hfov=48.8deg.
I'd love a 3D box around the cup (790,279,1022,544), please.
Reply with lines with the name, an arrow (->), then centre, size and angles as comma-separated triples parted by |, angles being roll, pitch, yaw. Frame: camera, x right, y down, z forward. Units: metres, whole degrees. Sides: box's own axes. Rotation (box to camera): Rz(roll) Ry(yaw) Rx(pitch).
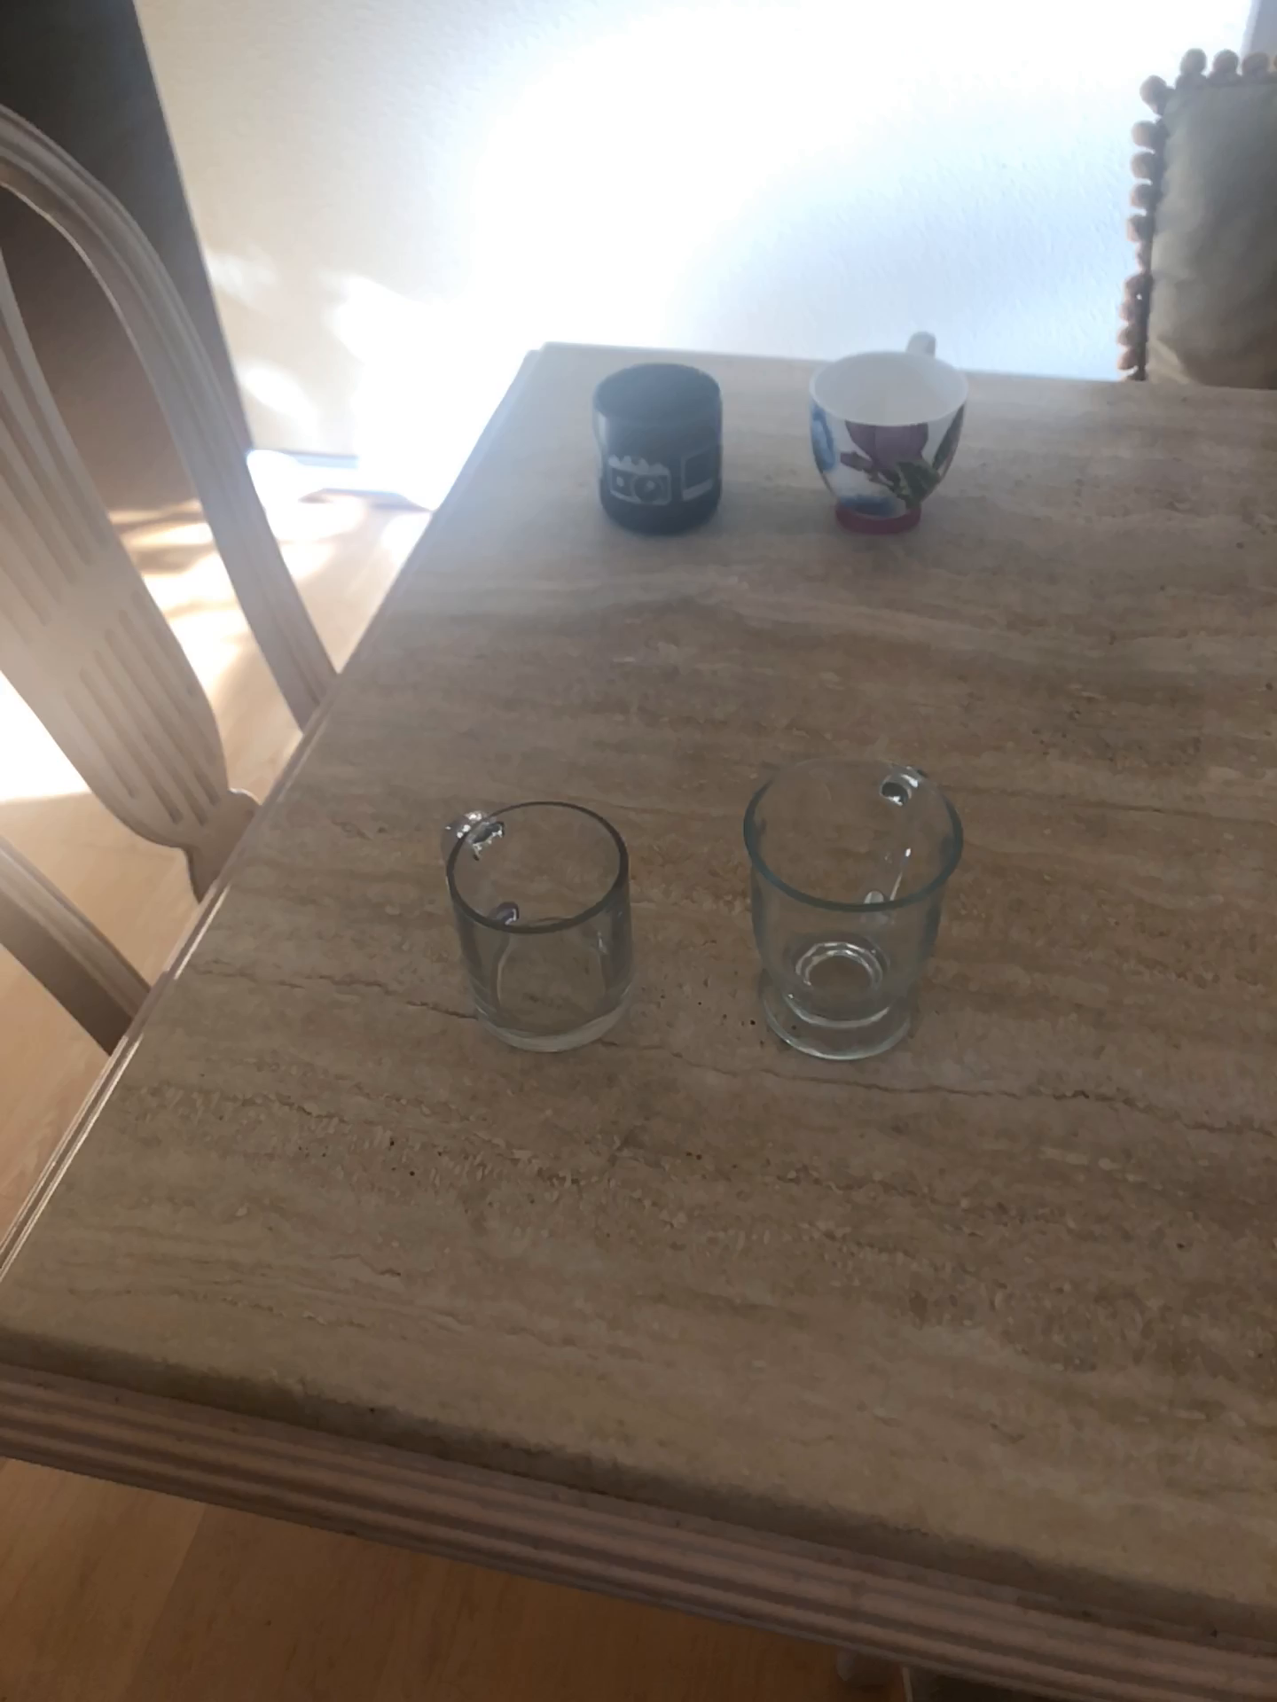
cup -> 0.190, -0.315, 1.001 | 0.100, 0.099, 0.171 | 20, 49, 21

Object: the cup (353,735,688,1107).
cup -> -0.055, 0.033, 0.704 | 0.130, 0.109, 0.091 | 30, 54, 29

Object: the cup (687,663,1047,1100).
cup -> 0.109, 0.010, 0.676 | 0.110, 0.109, 0.151 | 21, 50, 22

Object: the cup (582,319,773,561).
cup -> 0.032, -0.302, 1.029 | 0.090, 0.109, 0.131 | 16, 48, 19
